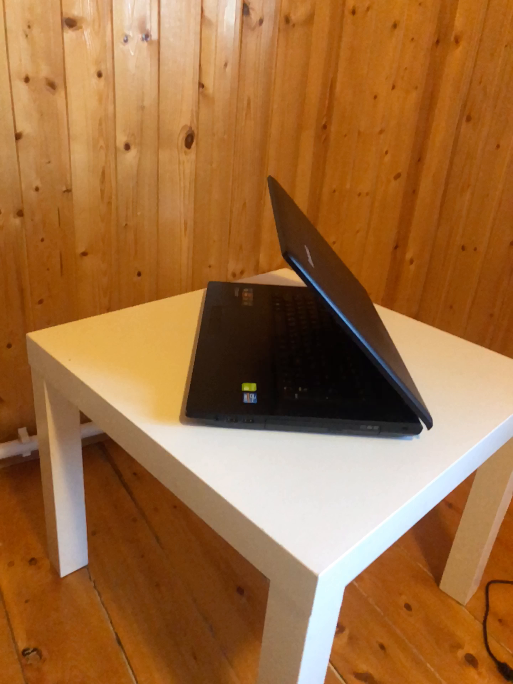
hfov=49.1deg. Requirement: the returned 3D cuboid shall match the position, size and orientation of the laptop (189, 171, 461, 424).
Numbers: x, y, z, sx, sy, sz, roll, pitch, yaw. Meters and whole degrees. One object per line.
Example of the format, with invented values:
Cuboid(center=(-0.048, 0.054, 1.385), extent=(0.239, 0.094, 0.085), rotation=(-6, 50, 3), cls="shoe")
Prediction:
Cuboid(center=(0.062, -0.088, 0.757), extent=(0.260, 0.179, 0.391), rotation=(4, 27, -3), cls="laptop")
